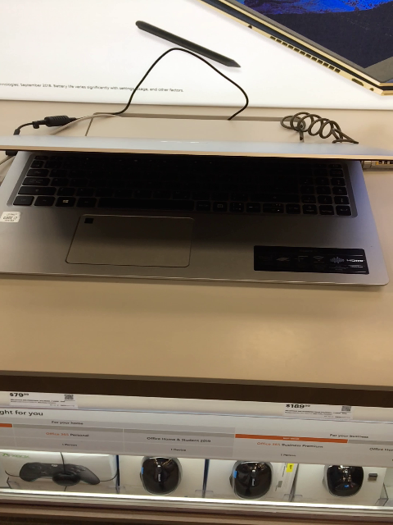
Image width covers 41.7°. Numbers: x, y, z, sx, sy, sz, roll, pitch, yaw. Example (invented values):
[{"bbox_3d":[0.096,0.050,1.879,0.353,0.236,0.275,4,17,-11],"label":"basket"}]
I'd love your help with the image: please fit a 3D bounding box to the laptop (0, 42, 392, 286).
[{"bbox_3d":[-0.027,-0.113,0.529,0.422,0.141,0.239,3,47,7],"label":"laptop"}]
